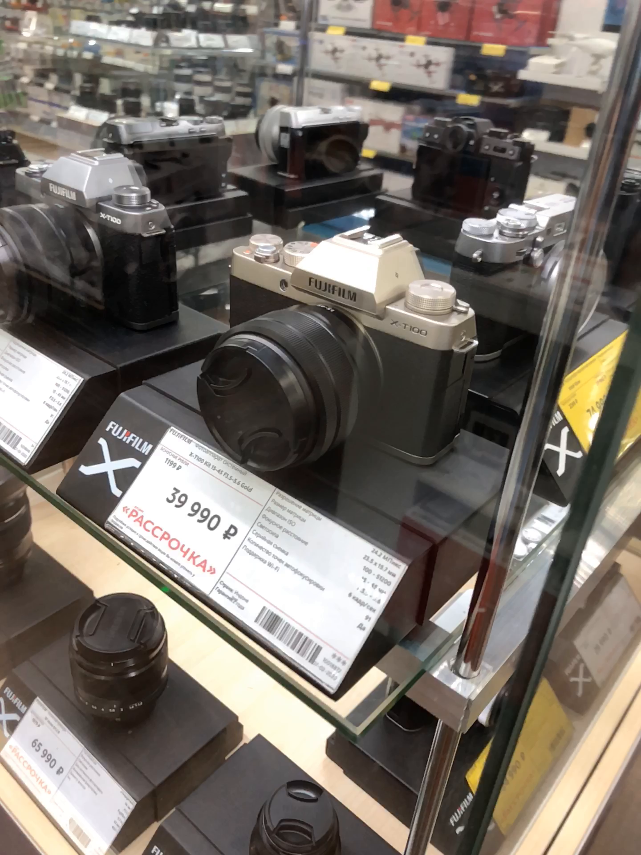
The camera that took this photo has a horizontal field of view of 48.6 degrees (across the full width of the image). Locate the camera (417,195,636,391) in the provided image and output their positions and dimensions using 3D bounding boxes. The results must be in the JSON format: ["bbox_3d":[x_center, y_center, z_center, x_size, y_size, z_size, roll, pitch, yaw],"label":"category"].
[{"bbox_3d":[0.123,-0.085,0.419,0.055,0.076,0.132,28,37,34],"label":"camera"}]

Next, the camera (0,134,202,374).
[{"bbox_3d":[-0.154,-0.108,0.409,0.141,0.086,0.102,26,36,32],"label":"camera"}]

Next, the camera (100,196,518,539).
[{"bbox_3d":[-0.007,-0.037,0.300,0.132,0.080,0.100,25,36,30],"label":"camera"}]
